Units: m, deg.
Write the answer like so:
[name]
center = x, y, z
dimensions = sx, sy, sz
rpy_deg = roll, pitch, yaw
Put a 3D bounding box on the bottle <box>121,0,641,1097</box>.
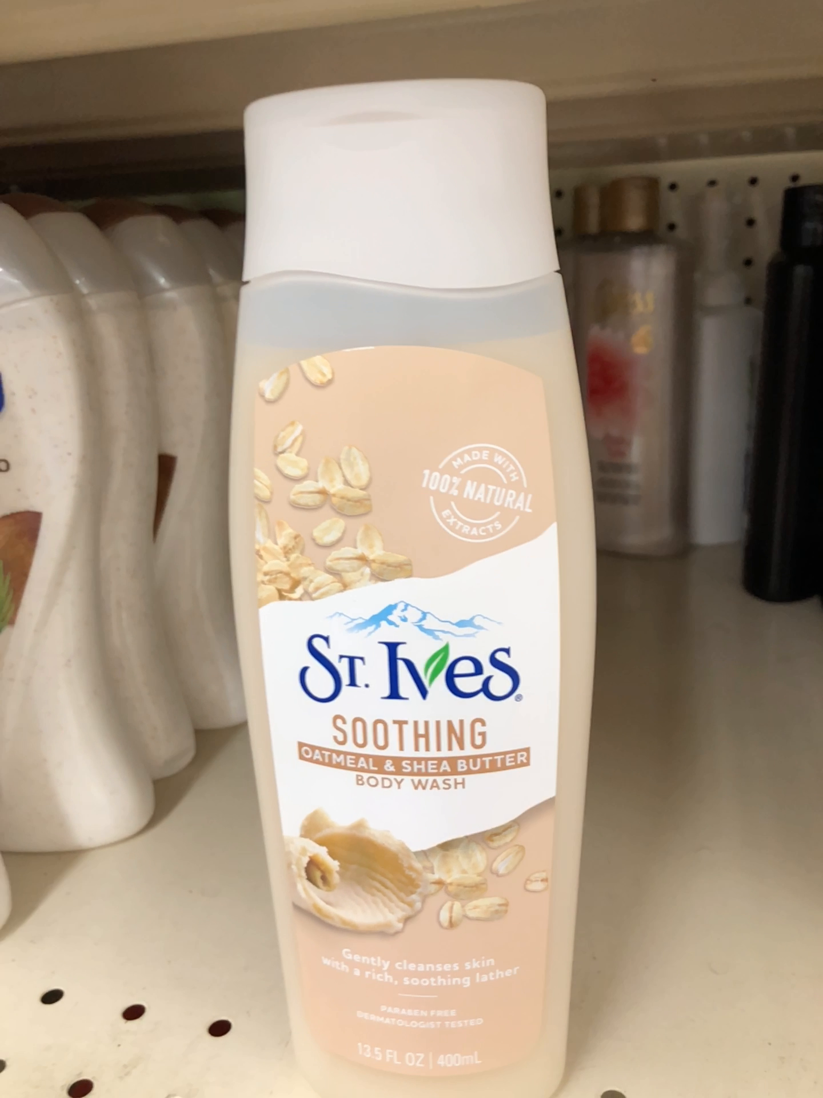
[bottle]
center = 0.003, 0.016, 0.200
dimensions = 0.080, 0.229, 0.050
rpy_deg = 0, 19, 9
